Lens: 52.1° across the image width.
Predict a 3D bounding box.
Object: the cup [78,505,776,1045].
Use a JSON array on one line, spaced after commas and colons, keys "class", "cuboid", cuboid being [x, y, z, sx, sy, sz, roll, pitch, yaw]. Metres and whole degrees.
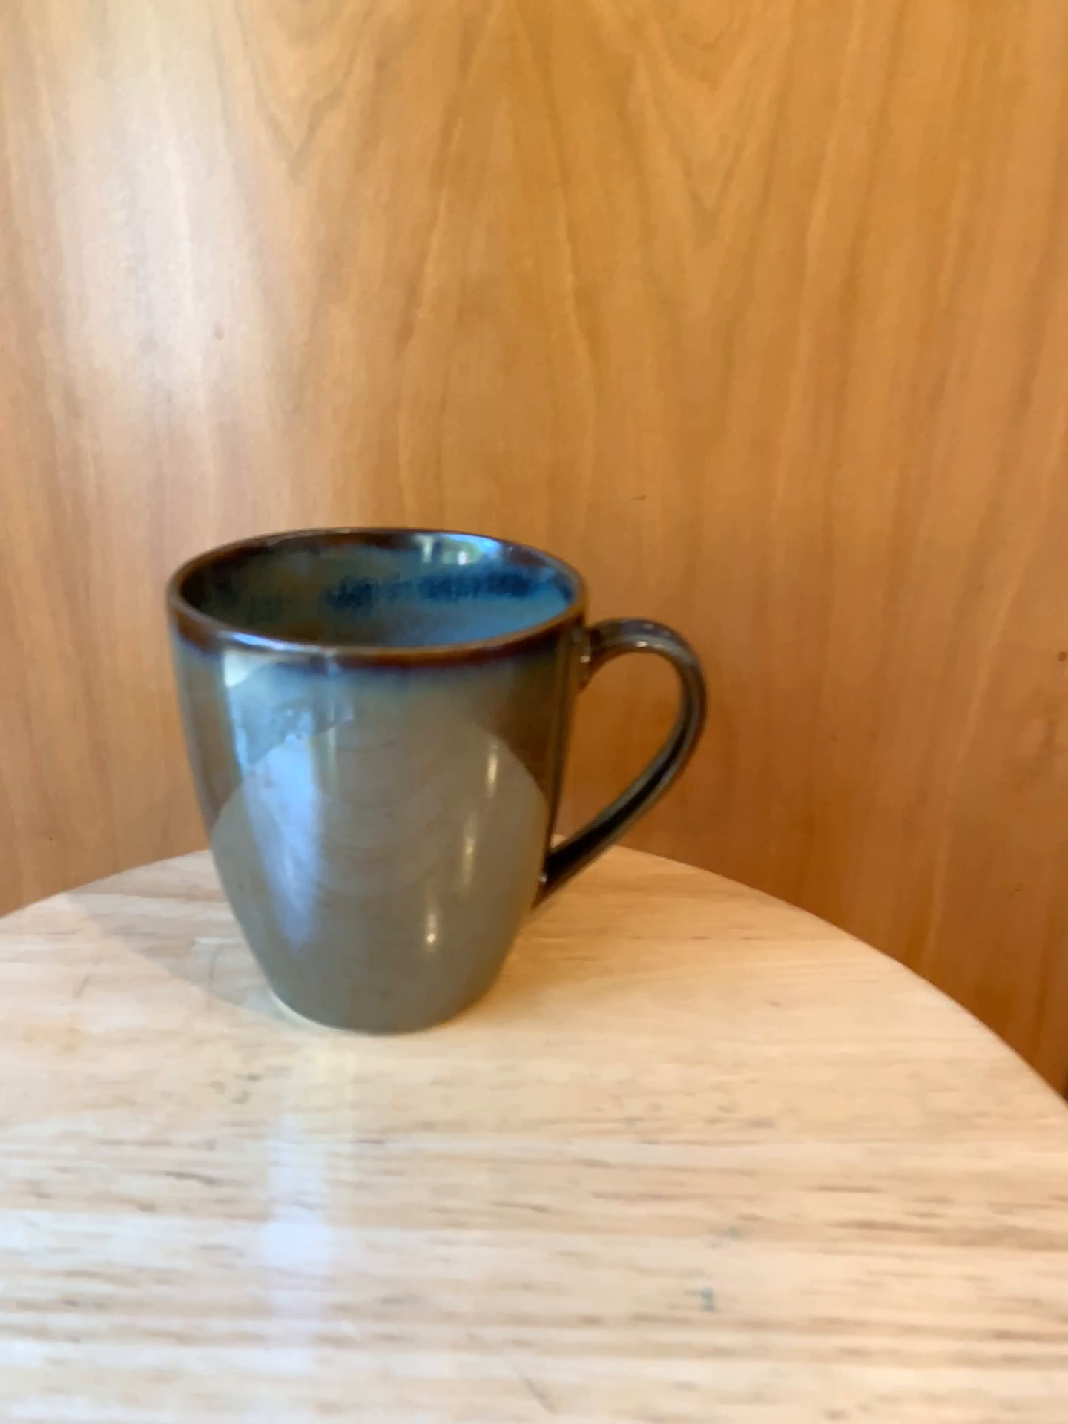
[{"class": "cup", "cuboid": [-0.020, 0.010, 0.242, 0.120, 0.090, 0.080, 2, 23, -2]}]
